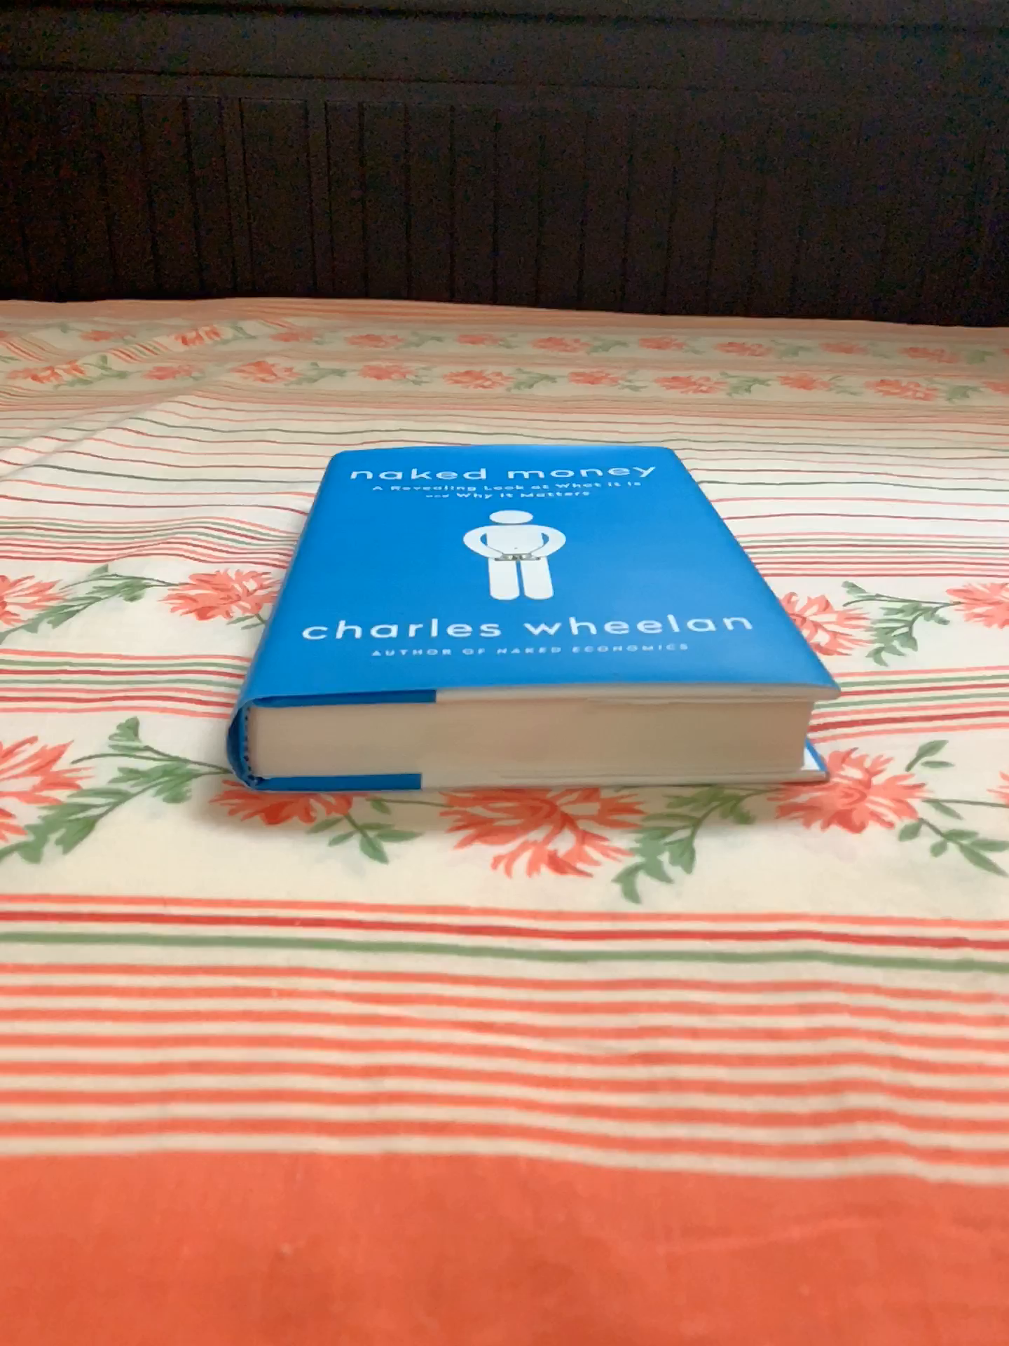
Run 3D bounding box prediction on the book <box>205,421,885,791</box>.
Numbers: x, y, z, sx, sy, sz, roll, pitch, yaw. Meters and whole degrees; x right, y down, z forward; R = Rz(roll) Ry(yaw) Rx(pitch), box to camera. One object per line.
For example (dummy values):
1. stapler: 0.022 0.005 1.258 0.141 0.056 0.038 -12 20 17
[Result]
1. book: 0.005 -0.043 0.379 0.170 0.040 0.252 0 26 -3
